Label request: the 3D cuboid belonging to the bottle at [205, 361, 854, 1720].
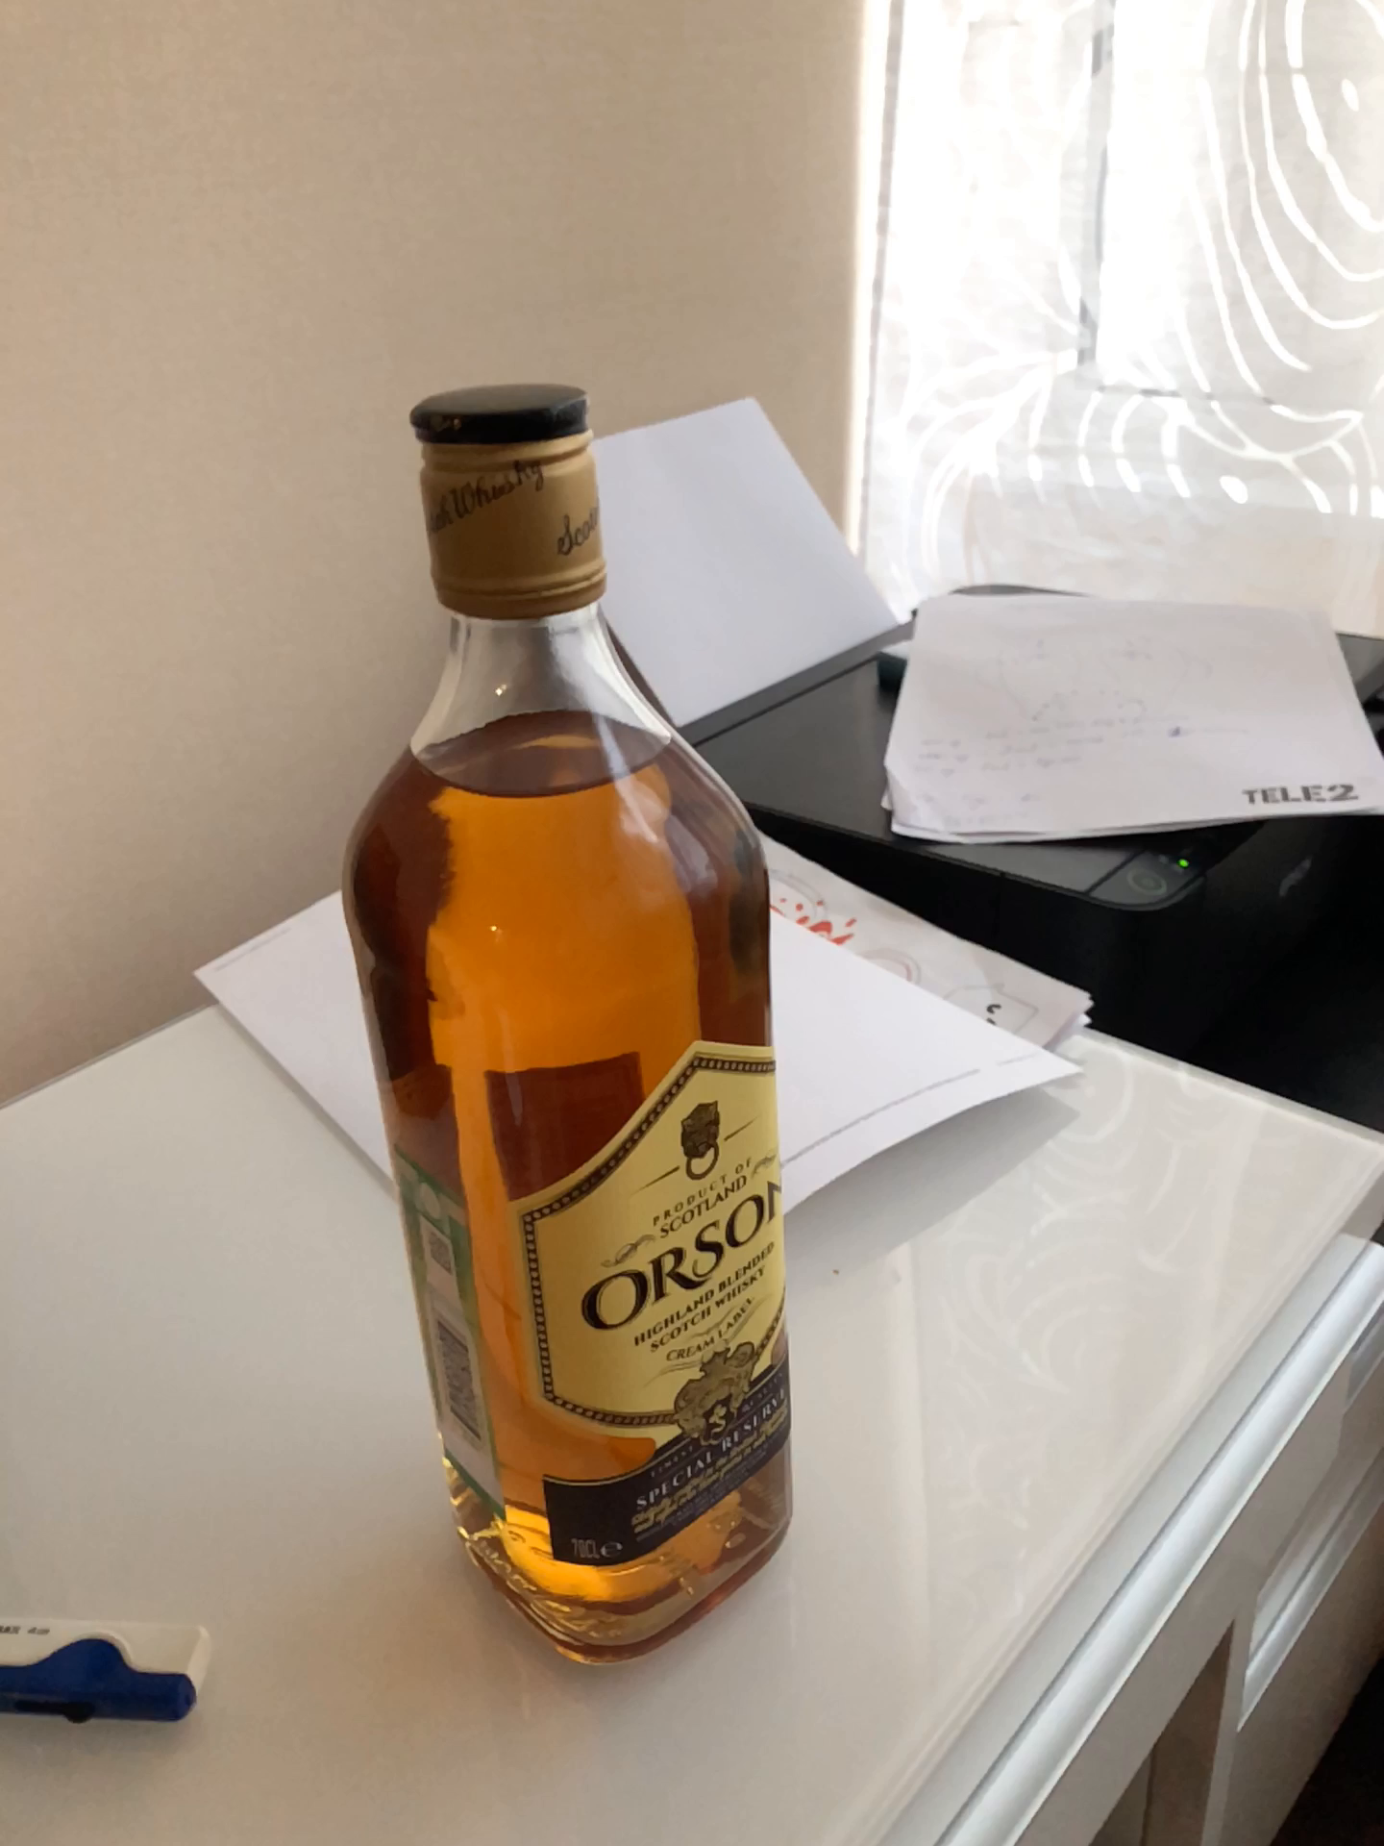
[{"bbox_3d":[-0.021,0.029,0.311,0.080,0.258,0.070,-23,33,-33],"label":"bottle"}]
